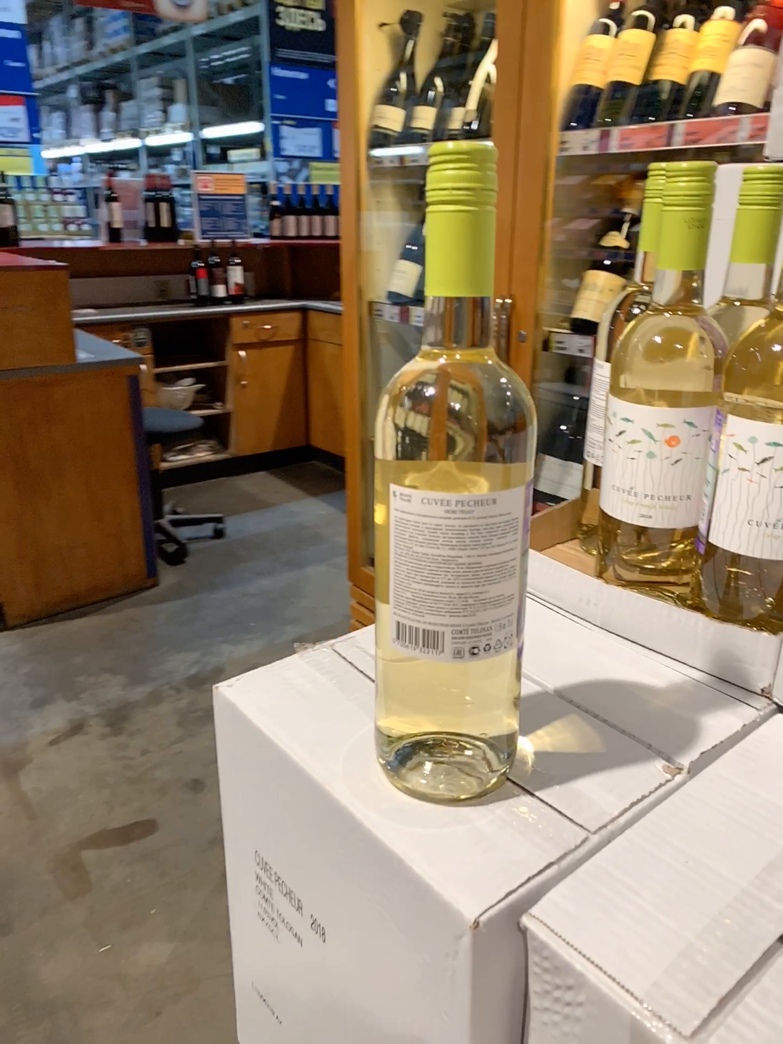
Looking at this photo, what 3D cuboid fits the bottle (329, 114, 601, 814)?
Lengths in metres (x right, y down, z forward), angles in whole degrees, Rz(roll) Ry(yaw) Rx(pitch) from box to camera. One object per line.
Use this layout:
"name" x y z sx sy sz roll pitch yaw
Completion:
"bottle" 0.025 -0.020 0.380 0.090 0.299 0.090 0 20 0
